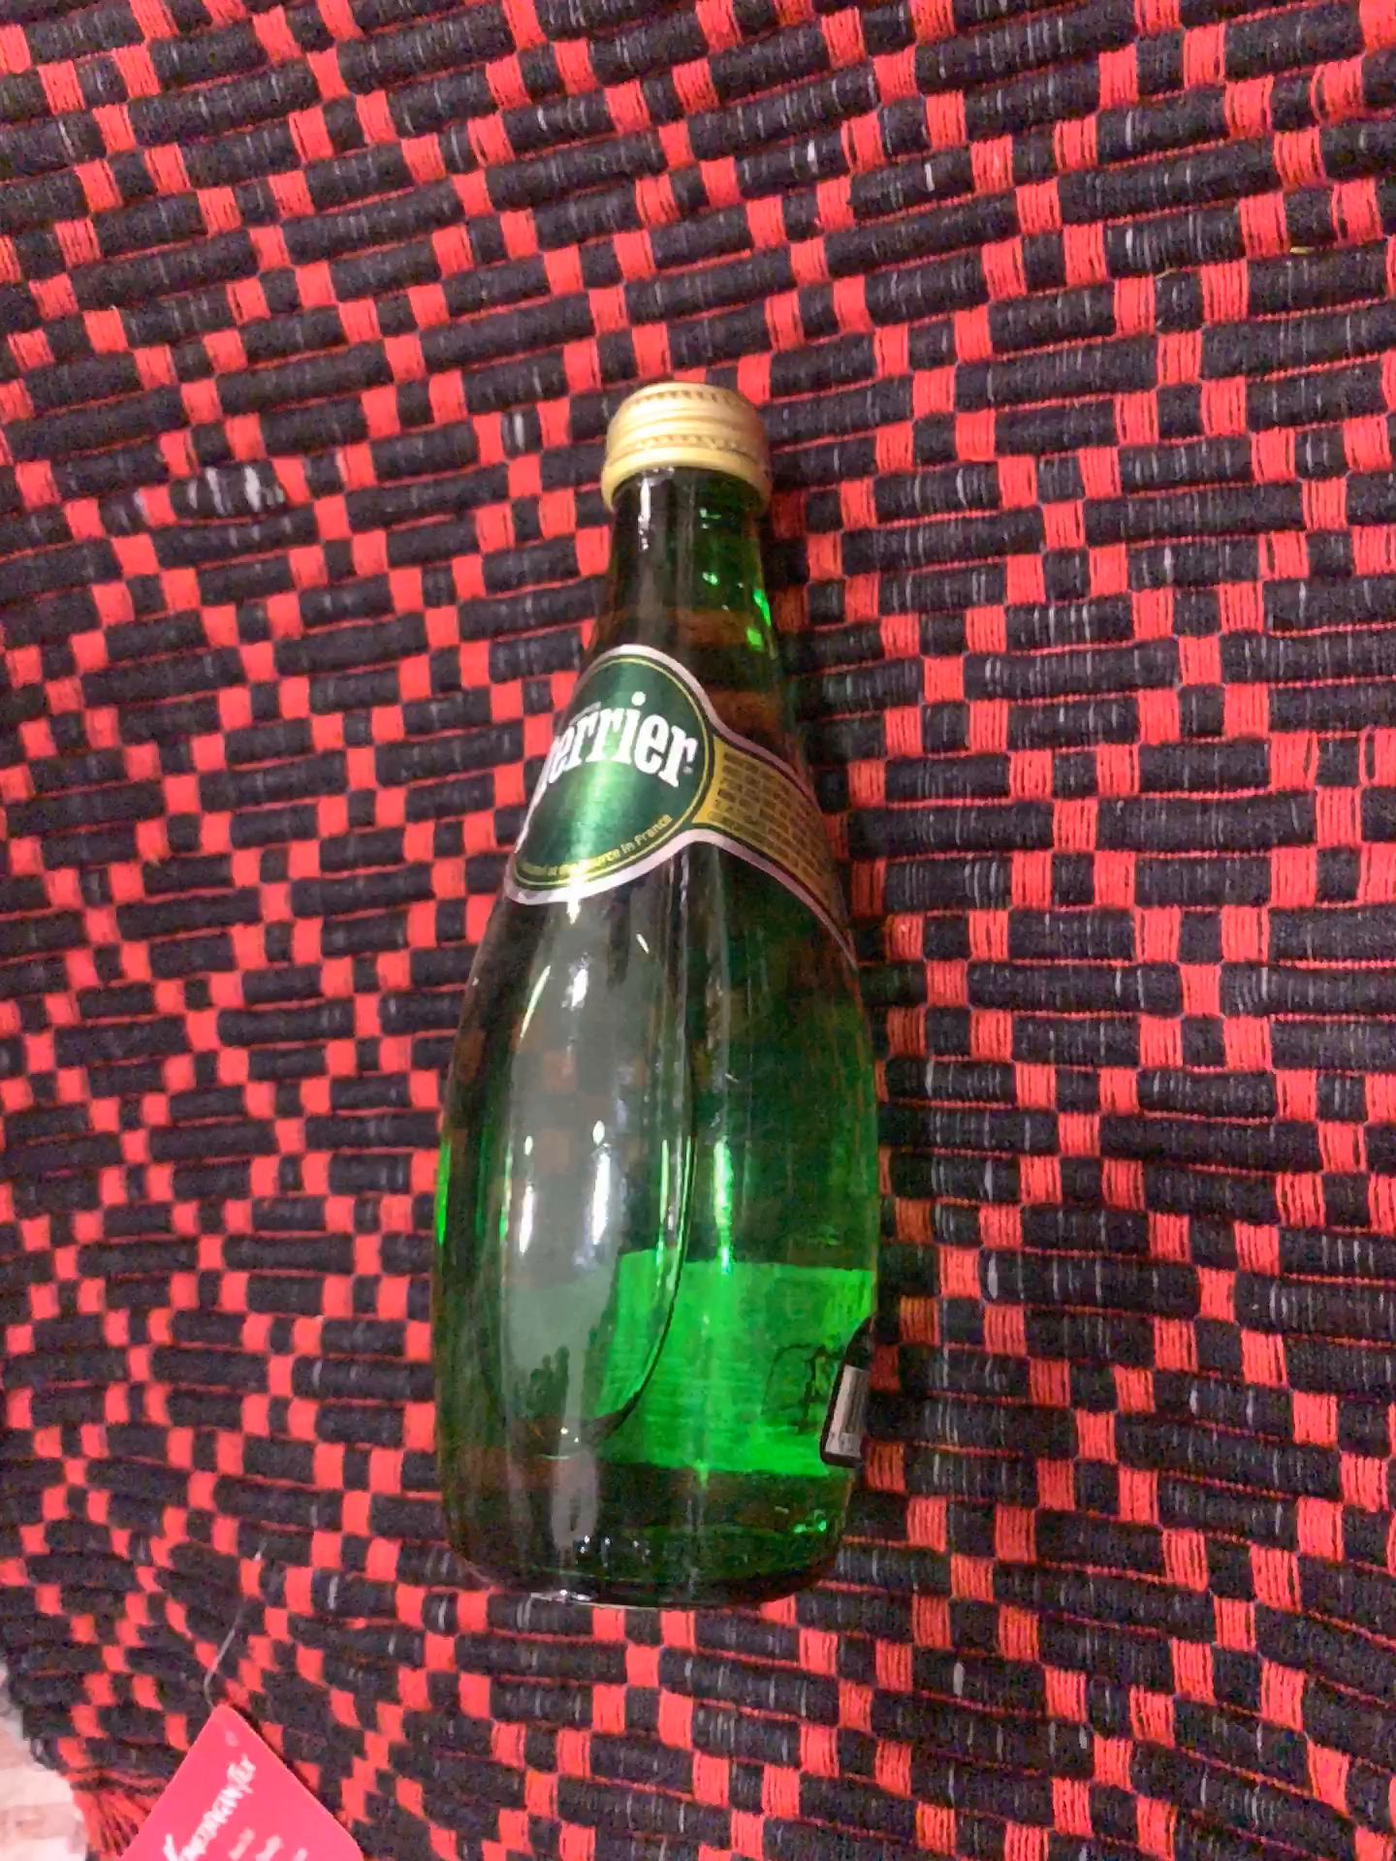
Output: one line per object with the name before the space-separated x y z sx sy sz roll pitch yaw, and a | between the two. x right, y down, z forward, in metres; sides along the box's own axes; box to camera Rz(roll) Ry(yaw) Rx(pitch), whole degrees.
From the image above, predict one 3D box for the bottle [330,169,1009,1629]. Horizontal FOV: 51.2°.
bottle | 0.000 -0.003 0.225 0.070 0.070 0.180 -4 79 35
